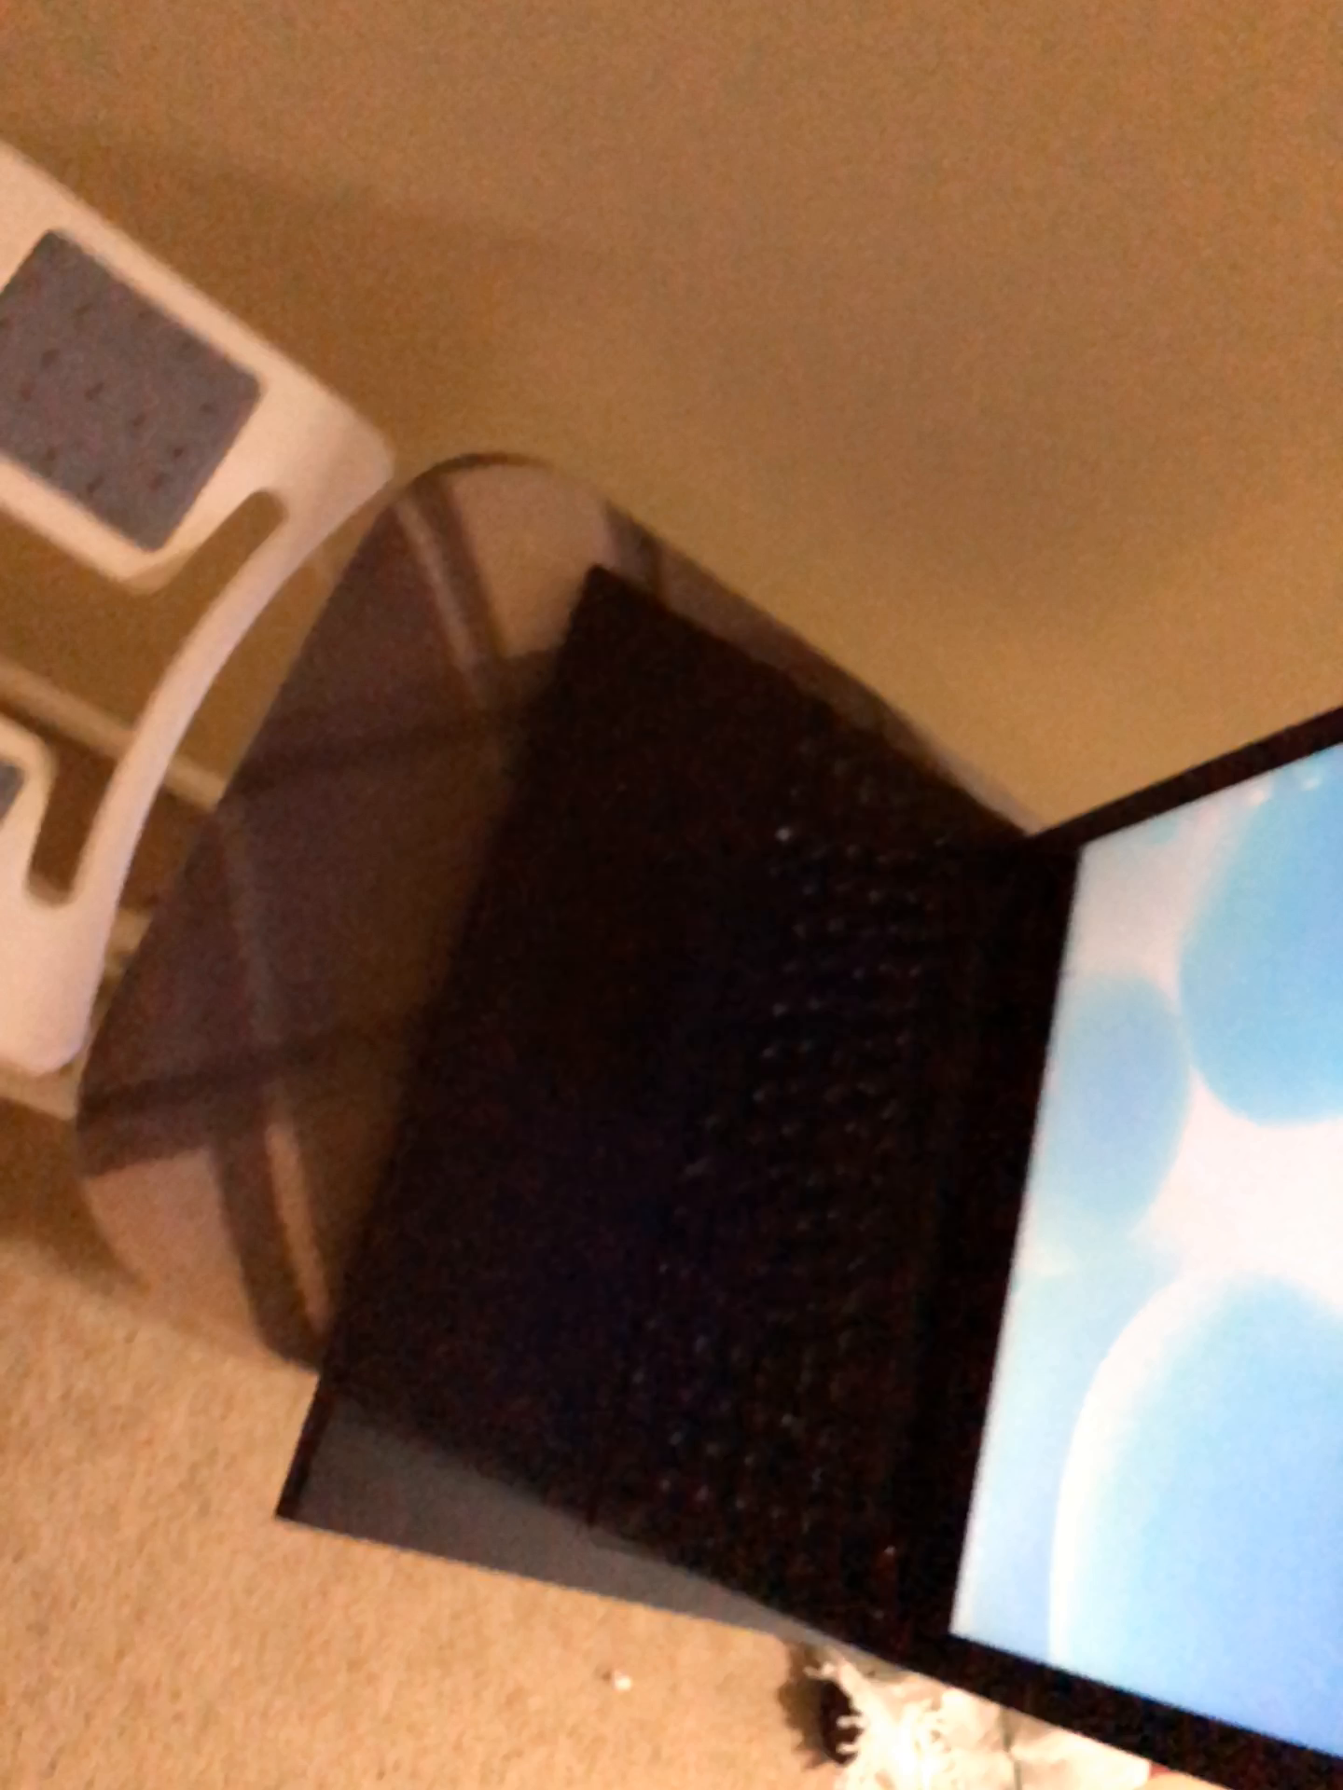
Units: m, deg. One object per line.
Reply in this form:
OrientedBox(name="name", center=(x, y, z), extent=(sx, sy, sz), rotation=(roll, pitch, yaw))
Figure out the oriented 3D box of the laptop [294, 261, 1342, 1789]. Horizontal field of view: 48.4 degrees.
OrientedBox(name="laptop", center=(0.090, 0.060, 0.483), extent=(0.248, 0.231, 0.352), rotation=(27, 66, -27))
